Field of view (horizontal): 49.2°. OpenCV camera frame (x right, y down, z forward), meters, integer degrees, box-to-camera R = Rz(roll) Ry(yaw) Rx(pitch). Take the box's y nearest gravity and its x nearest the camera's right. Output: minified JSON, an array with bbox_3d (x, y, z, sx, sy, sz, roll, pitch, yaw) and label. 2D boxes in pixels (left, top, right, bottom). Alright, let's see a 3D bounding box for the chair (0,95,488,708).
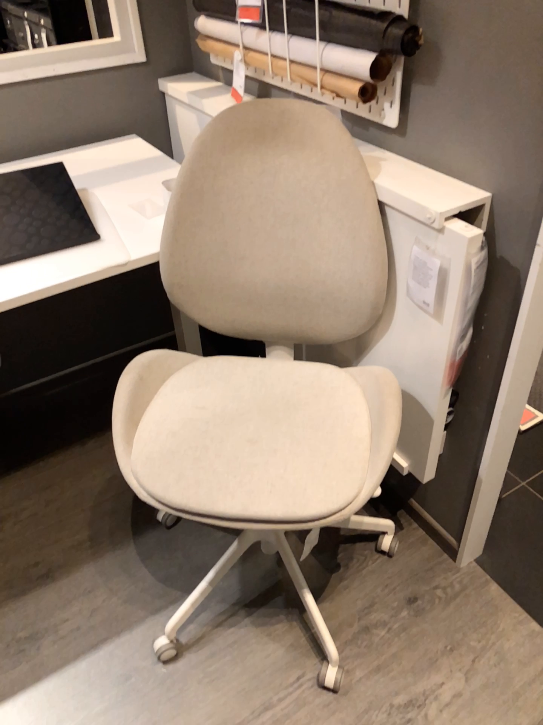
[{"bbox_3d":[-0.038,0.067,1.201,0.680,0.963,0.684,5,39,10],"label":"chair"}]
